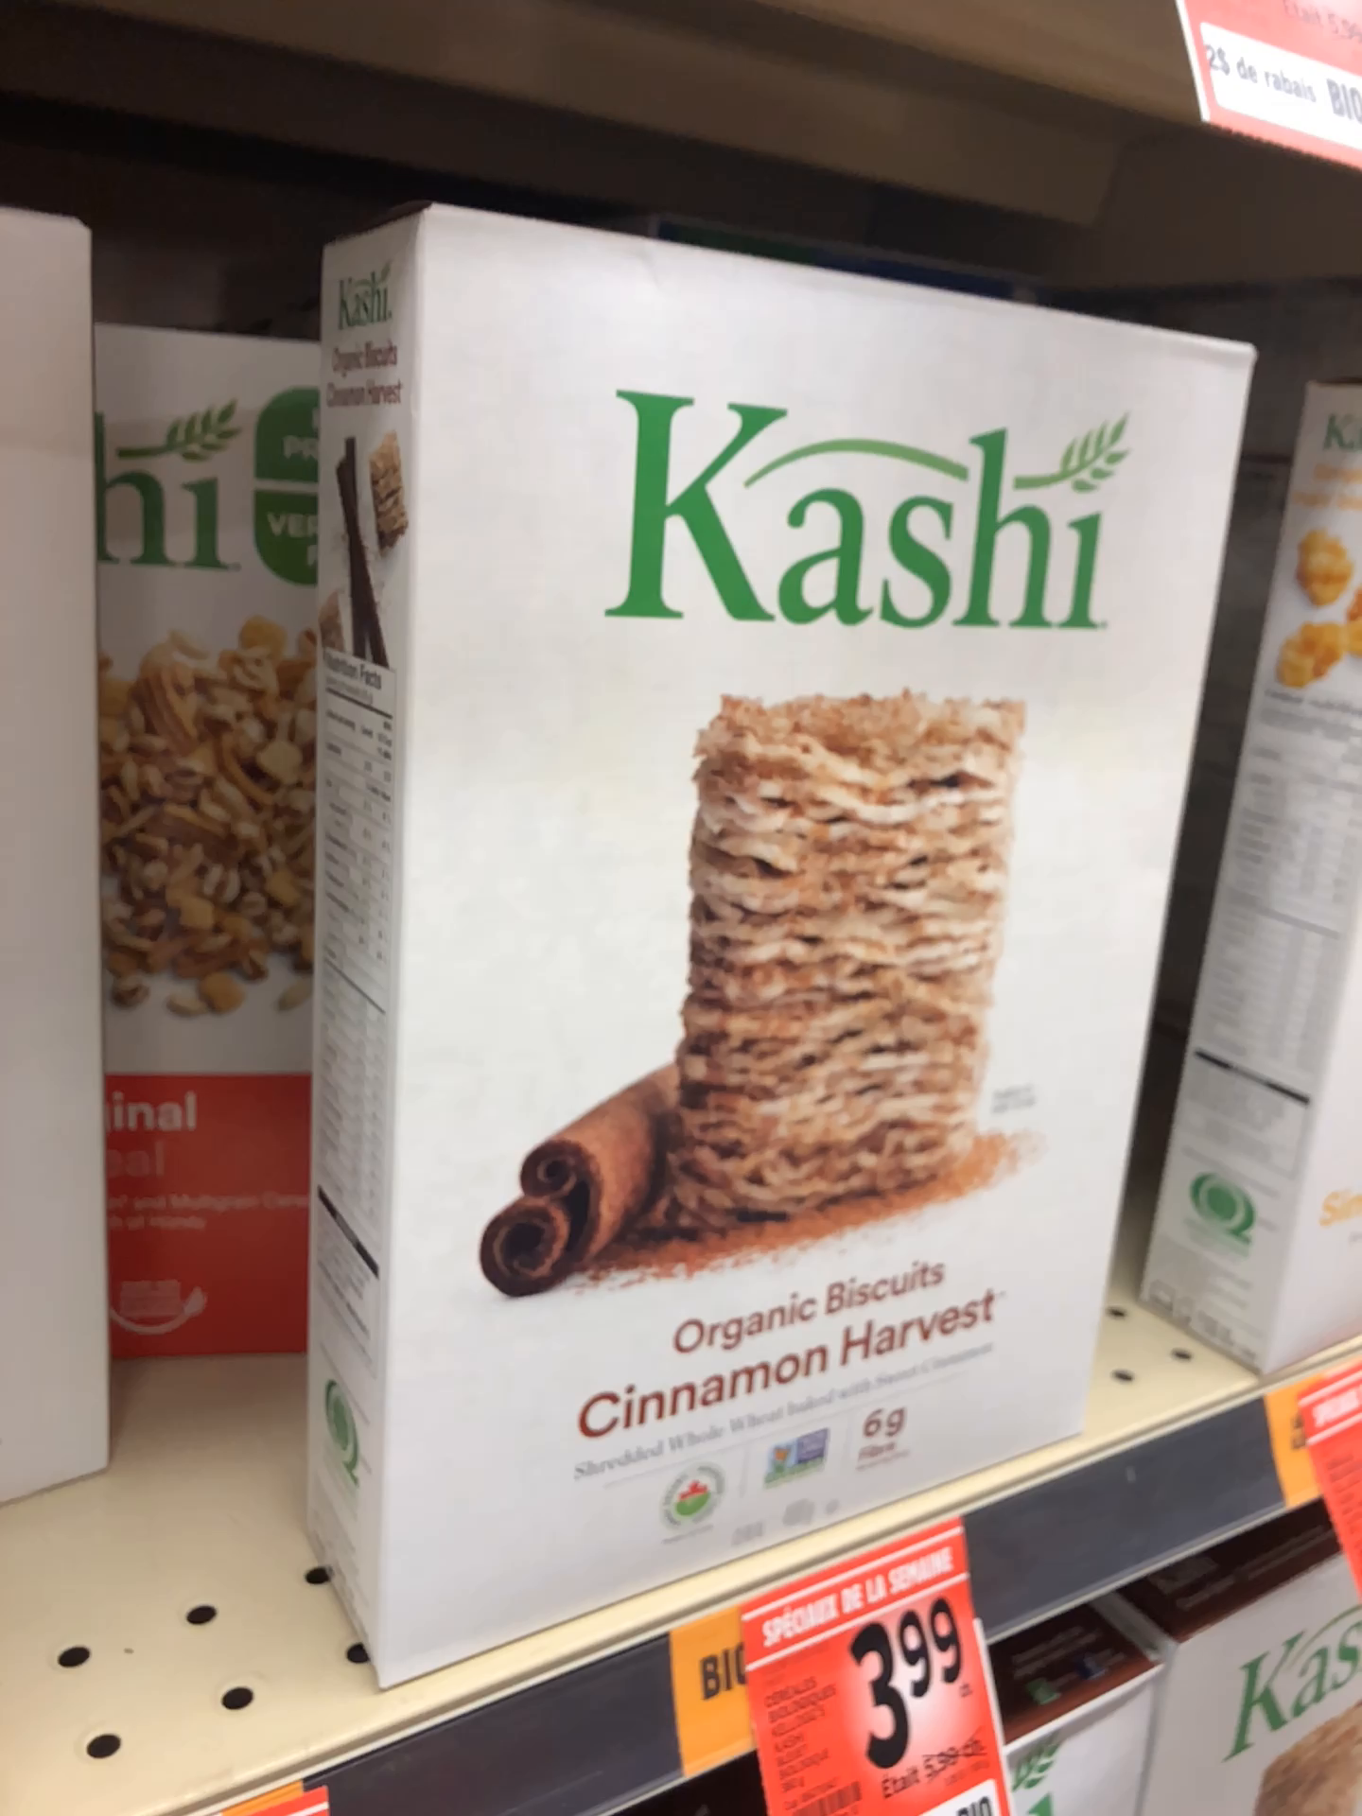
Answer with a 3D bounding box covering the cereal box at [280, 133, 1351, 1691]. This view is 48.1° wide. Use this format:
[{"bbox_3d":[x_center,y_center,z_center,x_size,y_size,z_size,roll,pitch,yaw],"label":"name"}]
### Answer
[{"bbox_3d":[0.024,0.001,0.332,0.200,0.269,0.070,-5,19,-31],"label":"cereal box"}]
